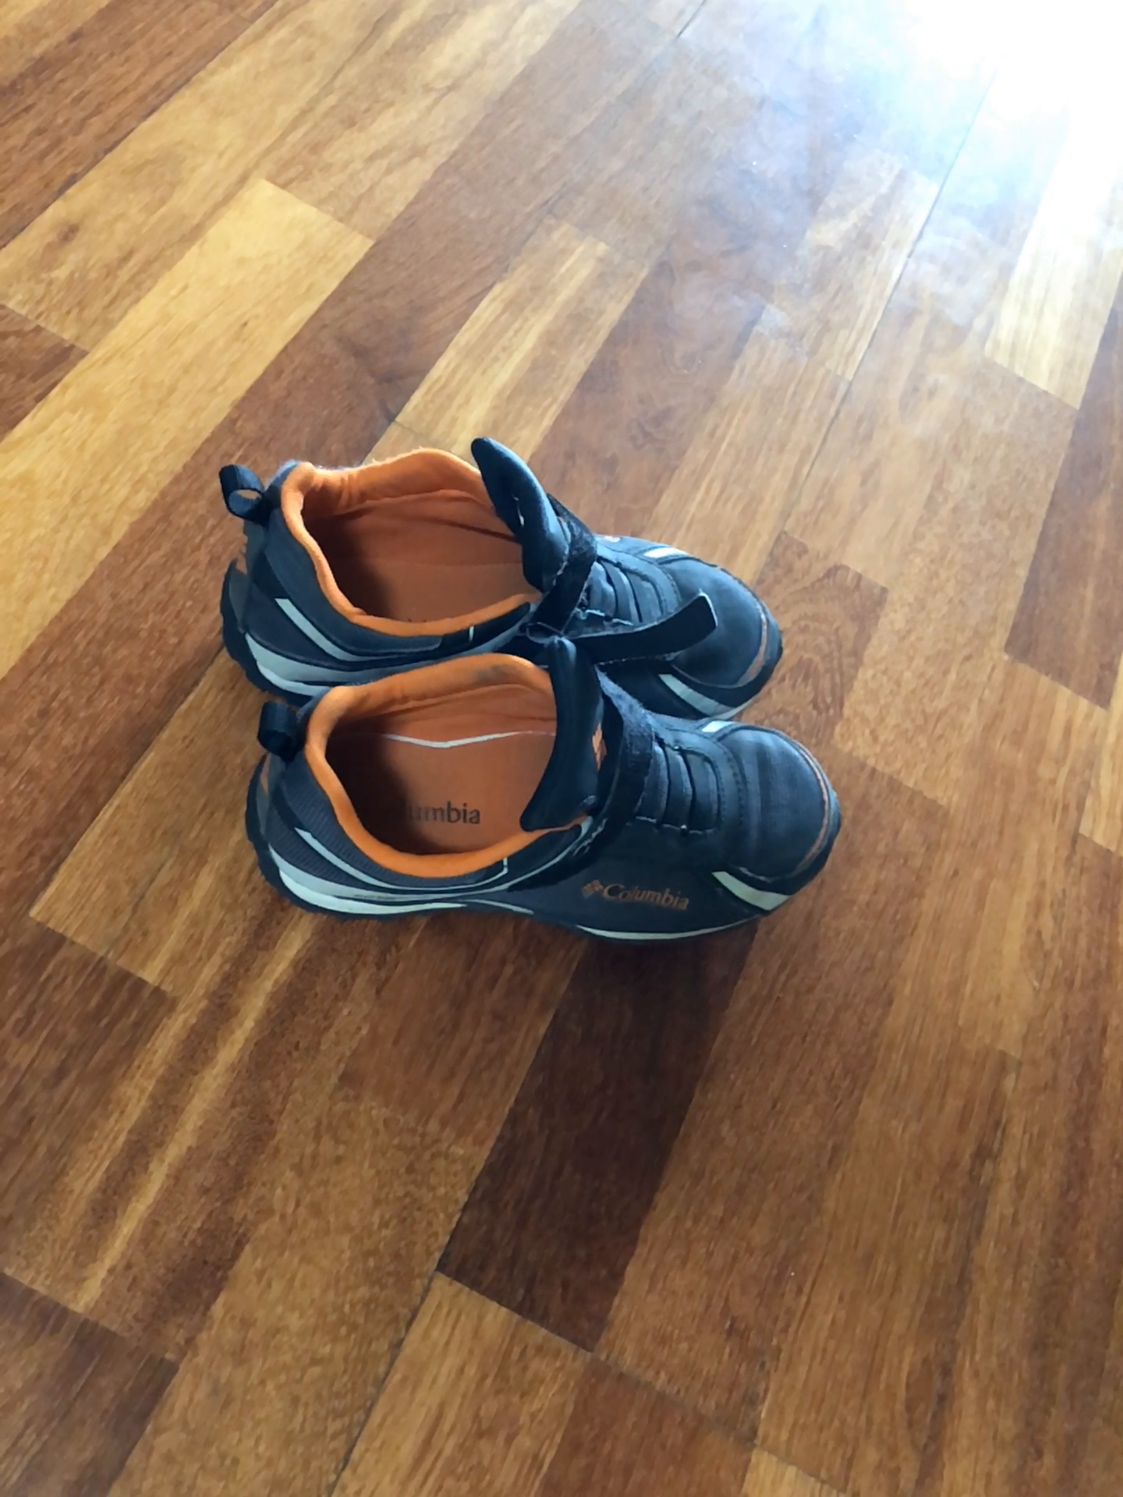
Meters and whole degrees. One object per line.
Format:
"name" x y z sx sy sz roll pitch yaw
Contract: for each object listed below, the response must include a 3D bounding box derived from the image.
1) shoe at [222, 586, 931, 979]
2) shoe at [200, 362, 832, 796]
"shoe" 0.001 0.022 0.485 0.247 0.102 0.097 6 63 -14
"shoe" -0.026 -0.066 0.561 0.252 0.127 0.112 6 63 -14
